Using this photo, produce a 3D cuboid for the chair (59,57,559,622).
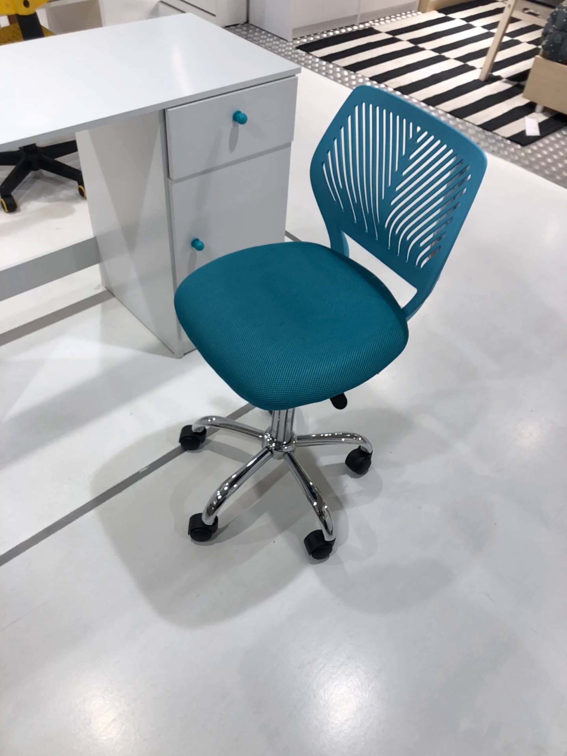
[{"bbox_3d":[0.004,-0.057,1.170,0.532,0.804,0.482,-24,52,-26],"label":"chair"}]
